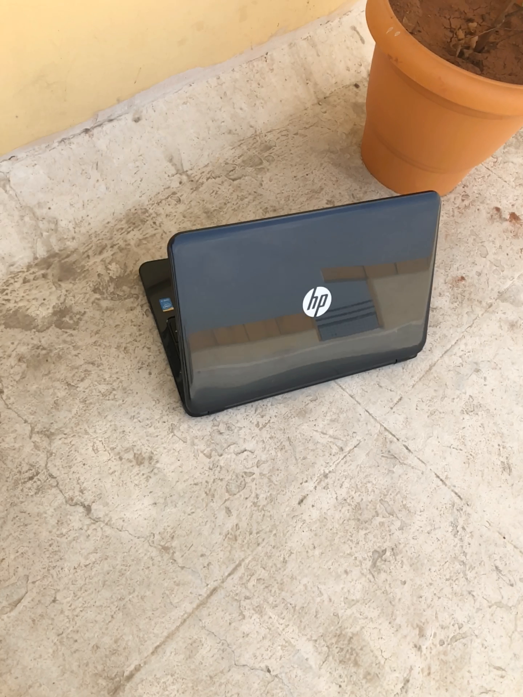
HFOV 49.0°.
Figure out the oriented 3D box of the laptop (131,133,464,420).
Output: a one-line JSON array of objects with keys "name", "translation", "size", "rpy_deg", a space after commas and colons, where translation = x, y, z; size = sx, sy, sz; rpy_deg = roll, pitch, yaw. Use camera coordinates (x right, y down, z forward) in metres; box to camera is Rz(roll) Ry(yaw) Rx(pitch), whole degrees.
[{"name": "laptop", "translation": [0.032, -0.097, 0.738], "size": [0.345, 0.189, 0.222], "rpy_deg": [-14, 67, -20]}]
